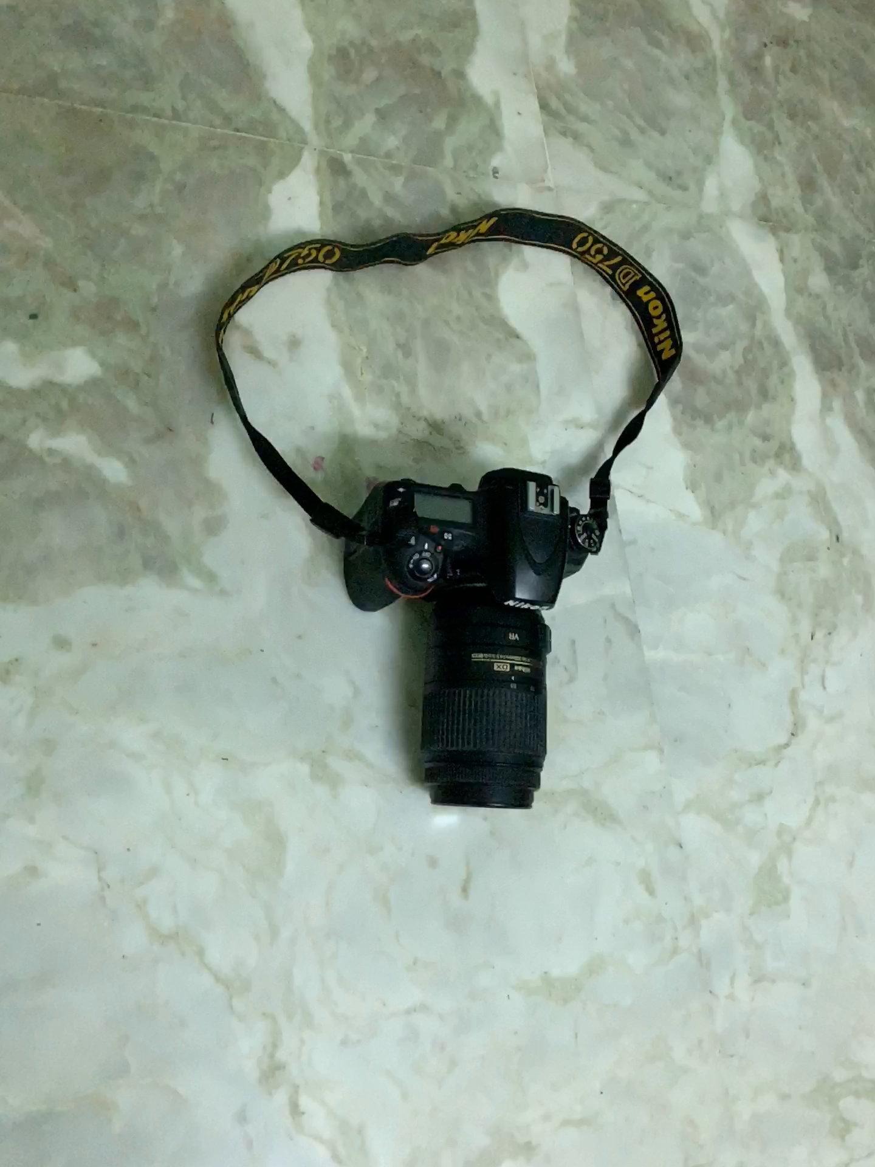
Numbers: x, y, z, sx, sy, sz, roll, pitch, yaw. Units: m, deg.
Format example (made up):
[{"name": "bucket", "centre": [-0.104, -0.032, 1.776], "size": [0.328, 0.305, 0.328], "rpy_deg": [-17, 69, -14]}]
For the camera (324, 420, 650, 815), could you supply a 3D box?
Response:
[{"name": "camera", "centre": [0.026, 0.032, 0.541], "size": [0.150, 0.120, 0.200], "rpy_deg": [8, 71, -21]}]
